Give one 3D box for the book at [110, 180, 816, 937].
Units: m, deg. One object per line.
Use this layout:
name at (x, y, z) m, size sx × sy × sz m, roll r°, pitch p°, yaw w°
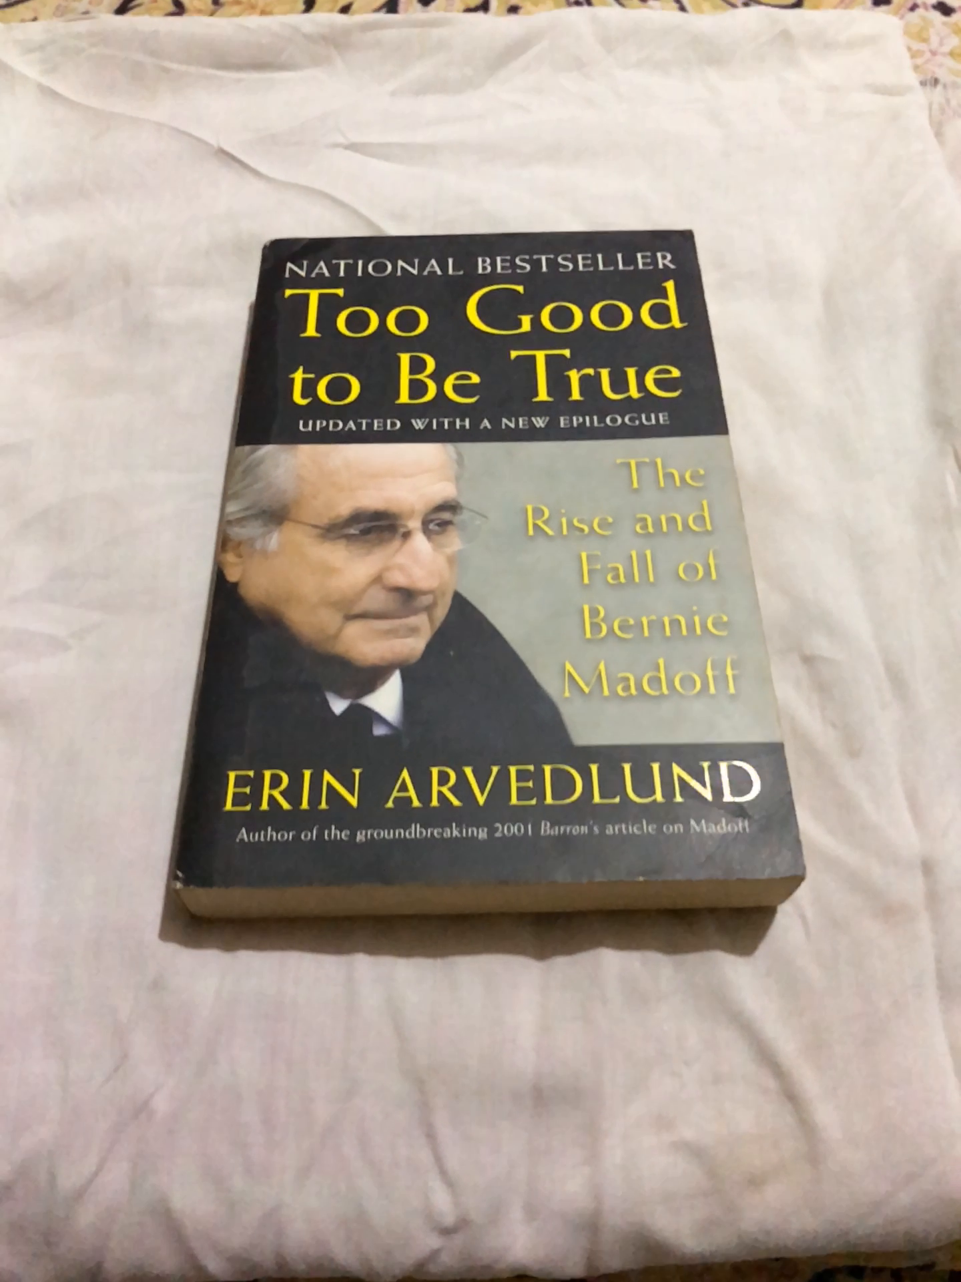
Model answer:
book at (-0.006, -0.039, 0.301) m, size 0.150 × 0.030 × 0.231 m, roll -2°, pitch 59°, yaw 1°
